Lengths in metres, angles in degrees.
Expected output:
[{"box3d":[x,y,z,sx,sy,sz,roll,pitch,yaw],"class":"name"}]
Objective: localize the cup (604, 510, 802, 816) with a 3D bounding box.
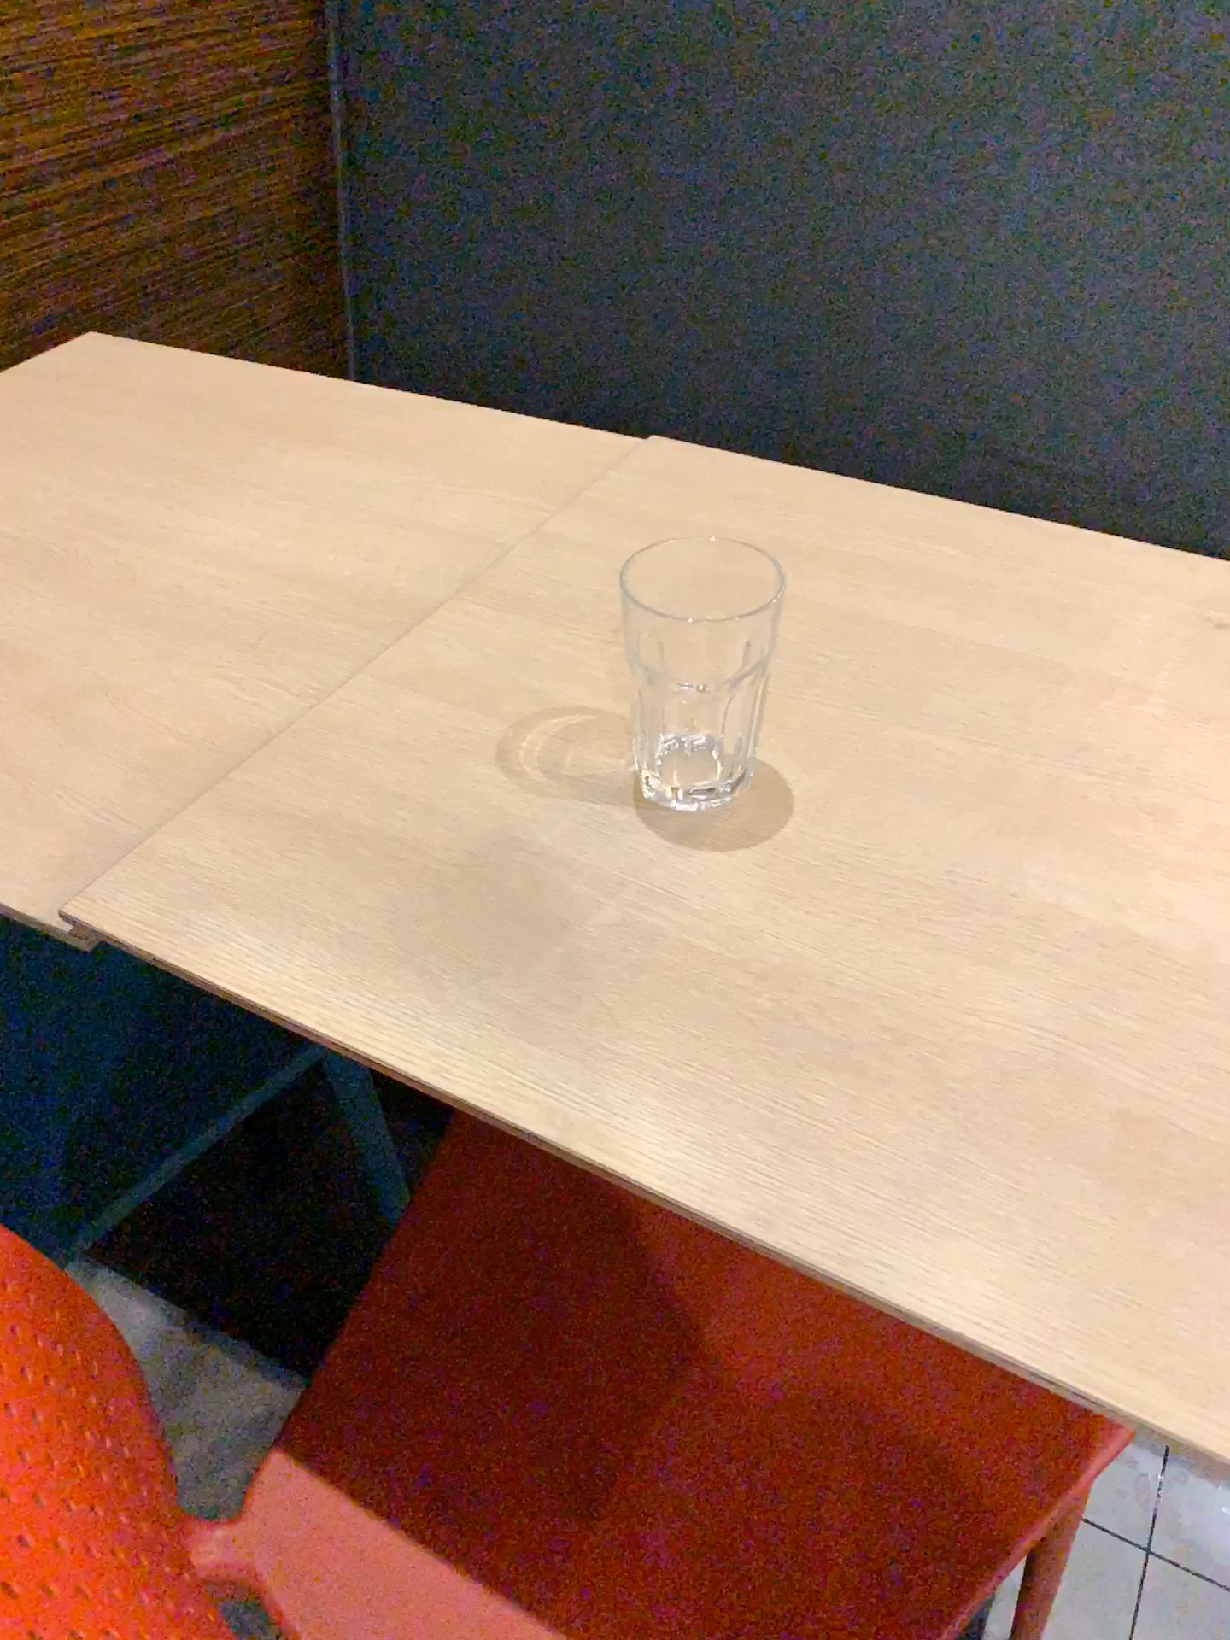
[{"box3d":[0.039,-0.076,0.615,0.080,0.119,0.080,-1,39,1],"class":"cup"}]
